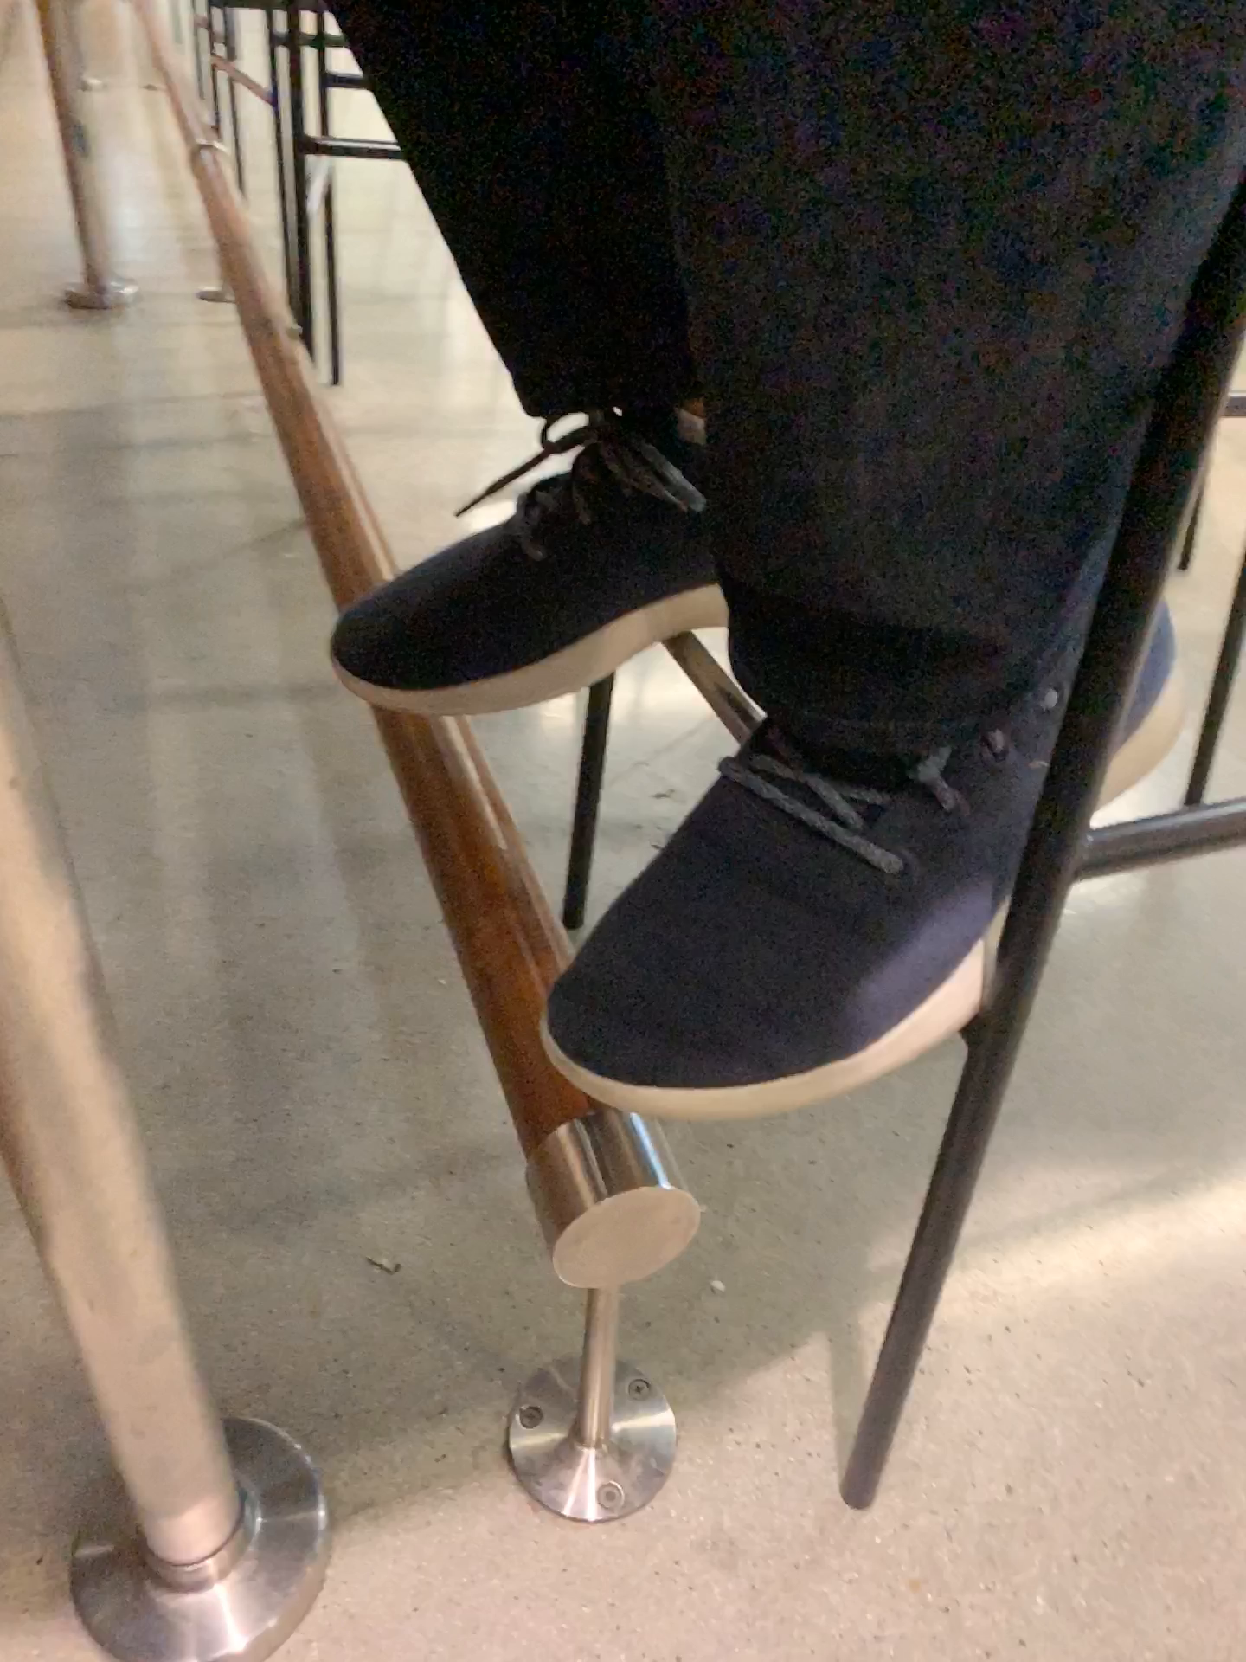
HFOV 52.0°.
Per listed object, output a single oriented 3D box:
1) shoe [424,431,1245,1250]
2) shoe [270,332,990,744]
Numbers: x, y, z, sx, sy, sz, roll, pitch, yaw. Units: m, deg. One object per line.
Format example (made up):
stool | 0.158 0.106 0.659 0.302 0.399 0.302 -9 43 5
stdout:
shoe | 0.098 -0.019 0.443 0.300 0.093 0.124 -36 47 -24
shoe | 0.003 -0.143 0.604 0.300 0.093 0.129 -11 34 2
